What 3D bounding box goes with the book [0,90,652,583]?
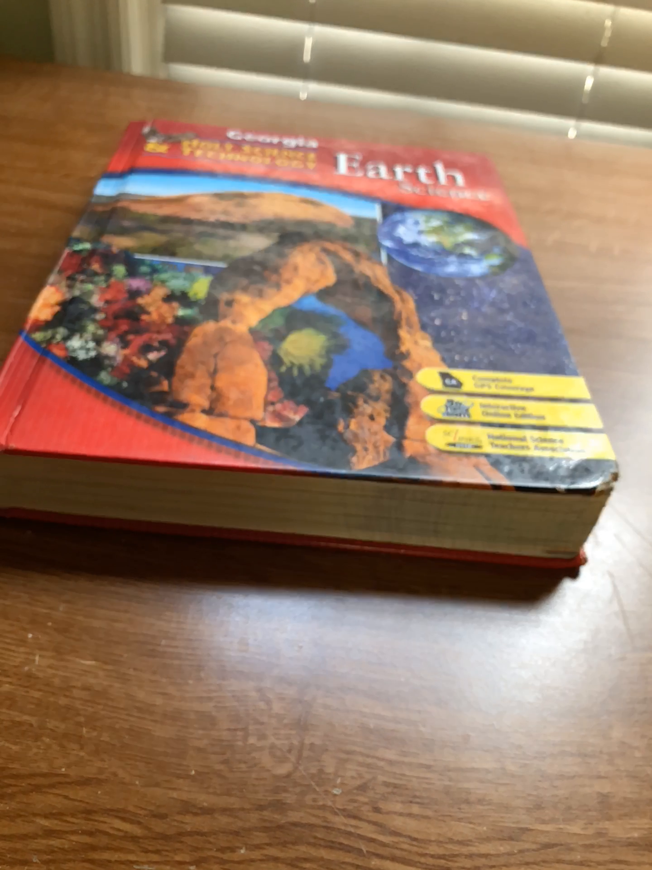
[{"bbox_3d":[0.011,-0.068,0.324,0.214,0.050,0.267,5,42,-4],"label":"book"}]
